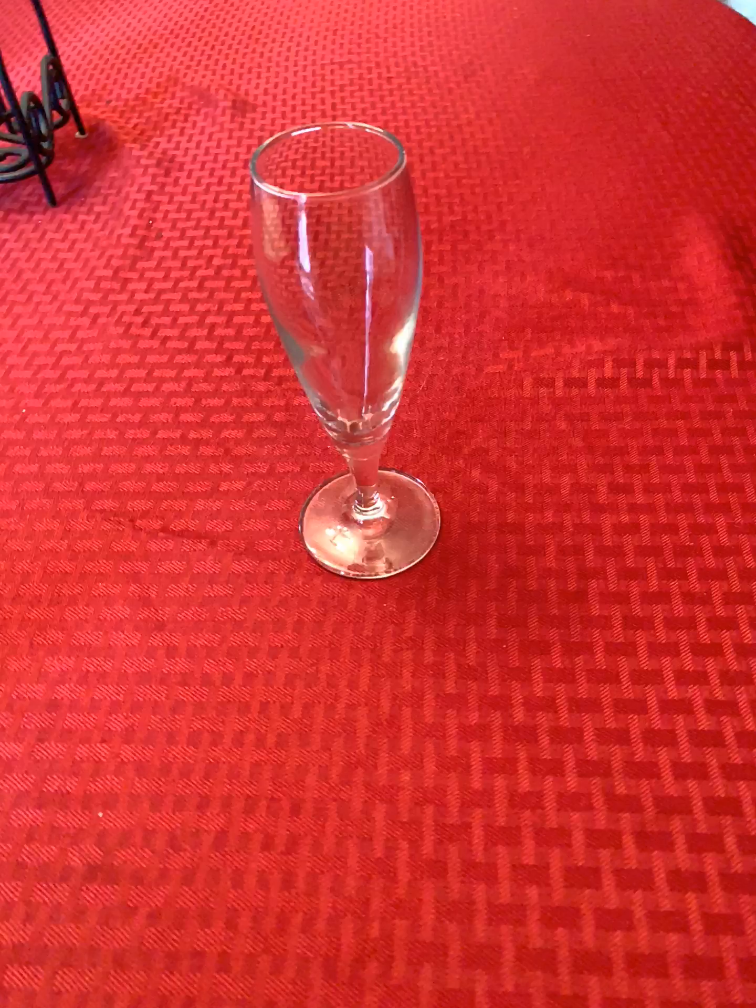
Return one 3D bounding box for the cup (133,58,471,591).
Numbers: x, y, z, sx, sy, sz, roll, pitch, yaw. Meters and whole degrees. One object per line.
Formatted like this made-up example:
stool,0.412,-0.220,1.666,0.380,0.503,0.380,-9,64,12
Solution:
cup,-0.014,-0.055,0.295,0.080,0.179,0.080,-2,51,2
